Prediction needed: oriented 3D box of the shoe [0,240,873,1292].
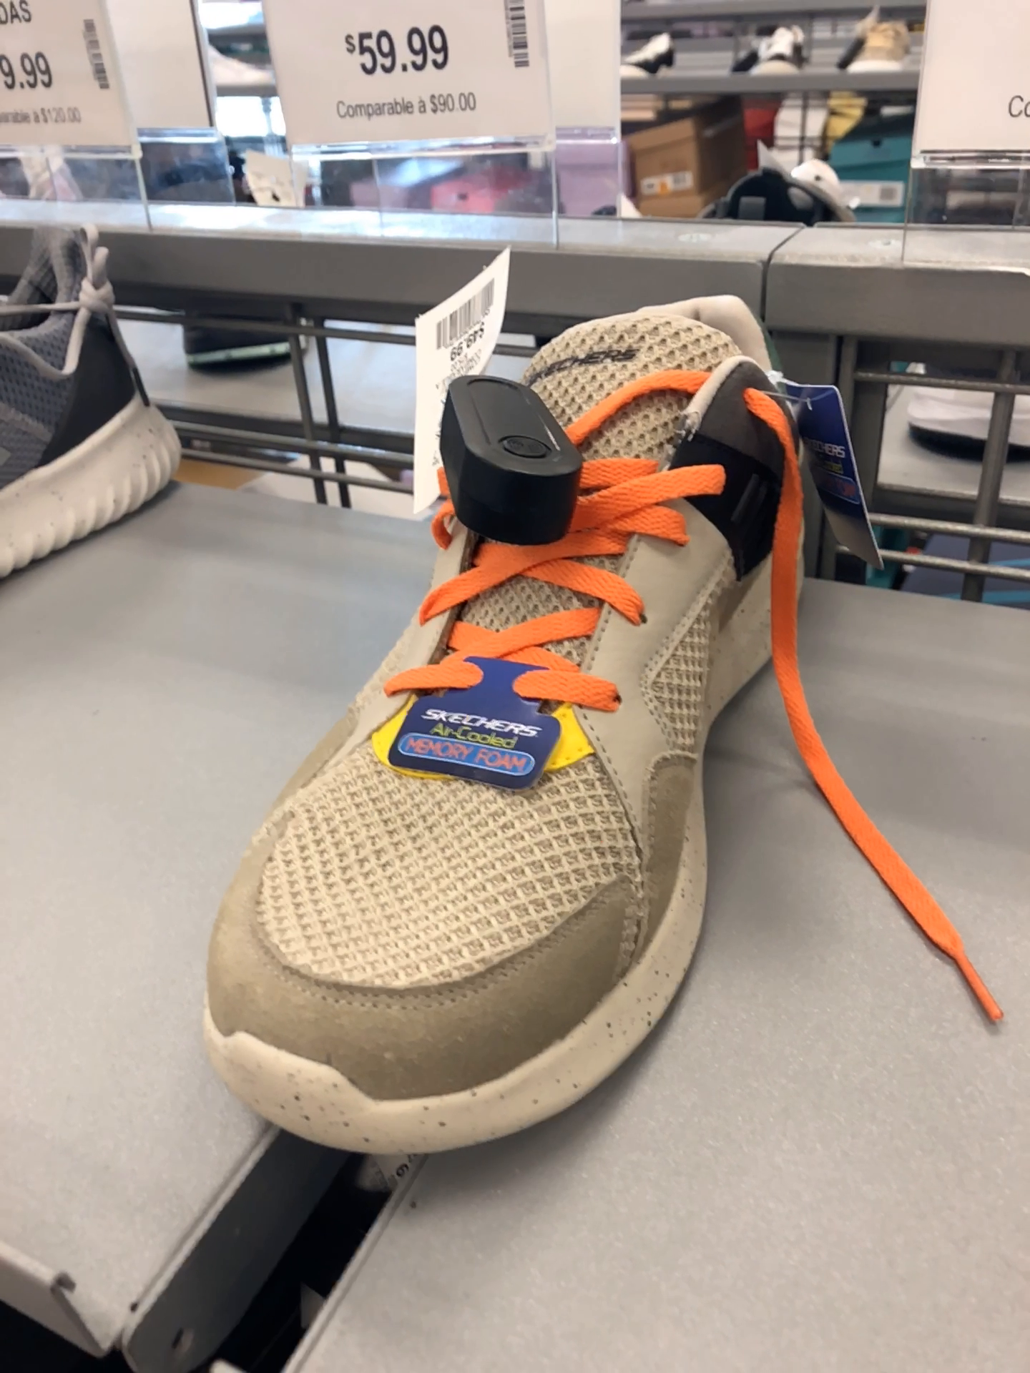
[{"bbox_3d":[0.005,-0.022,0.306,0.125,0.109,0.282,10,38,21],"label":"shoe"}]
